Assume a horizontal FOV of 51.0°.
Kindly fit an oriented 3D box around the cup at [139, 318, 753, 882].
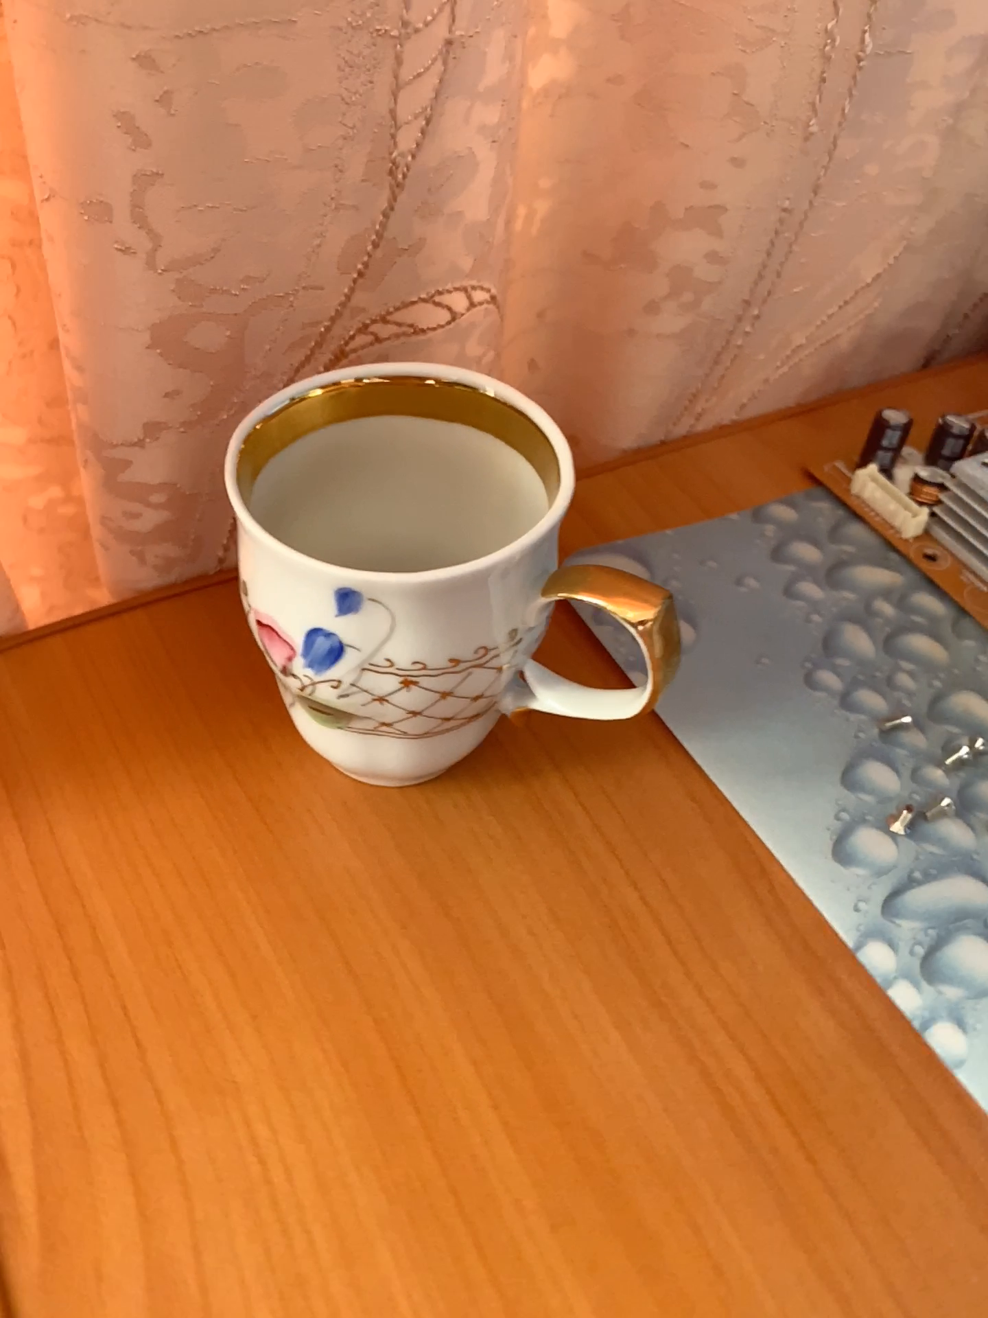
[{"bbox_3d":[-0.007,-0.013,0.188,0.082,0.055,0.059,20,47,13],"label":"cup"}]
